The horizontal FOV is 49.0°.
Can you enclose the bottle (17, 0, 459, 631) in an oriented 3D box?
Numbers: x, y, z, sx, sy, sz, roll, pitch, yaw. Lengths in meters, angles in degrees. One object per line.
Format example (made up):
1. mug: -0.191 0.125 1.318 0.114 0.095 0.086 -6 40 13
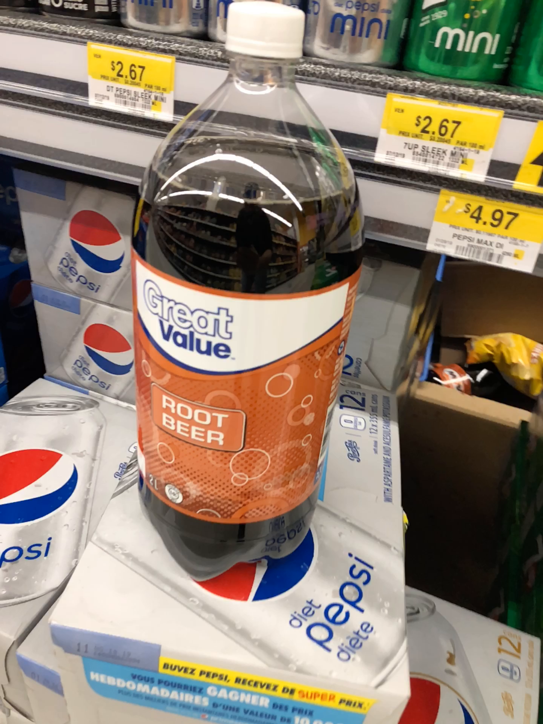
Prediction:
1. bottle: -0.013 -0.020 0.294 0.120 0.268 0.121 4 34 -3
